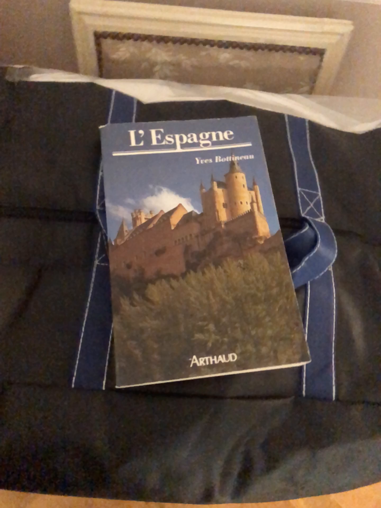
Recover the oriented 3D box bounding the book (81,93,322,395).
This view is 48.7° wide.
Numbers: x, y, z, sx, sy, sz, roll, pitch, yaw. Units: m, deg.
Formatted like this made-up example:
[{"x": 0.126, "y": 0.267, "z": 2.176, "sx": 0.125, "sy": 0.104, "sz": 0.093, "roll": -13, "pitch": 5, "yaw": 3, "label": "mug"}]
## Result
[{"x": 0.000, "y": -0.019, "z": 0.372, "sx": 0.170, "sy": 0.030, "sz": 0.250, "roll": -7, "pitch": 73, "yaw": -4, "label": "book"}]
